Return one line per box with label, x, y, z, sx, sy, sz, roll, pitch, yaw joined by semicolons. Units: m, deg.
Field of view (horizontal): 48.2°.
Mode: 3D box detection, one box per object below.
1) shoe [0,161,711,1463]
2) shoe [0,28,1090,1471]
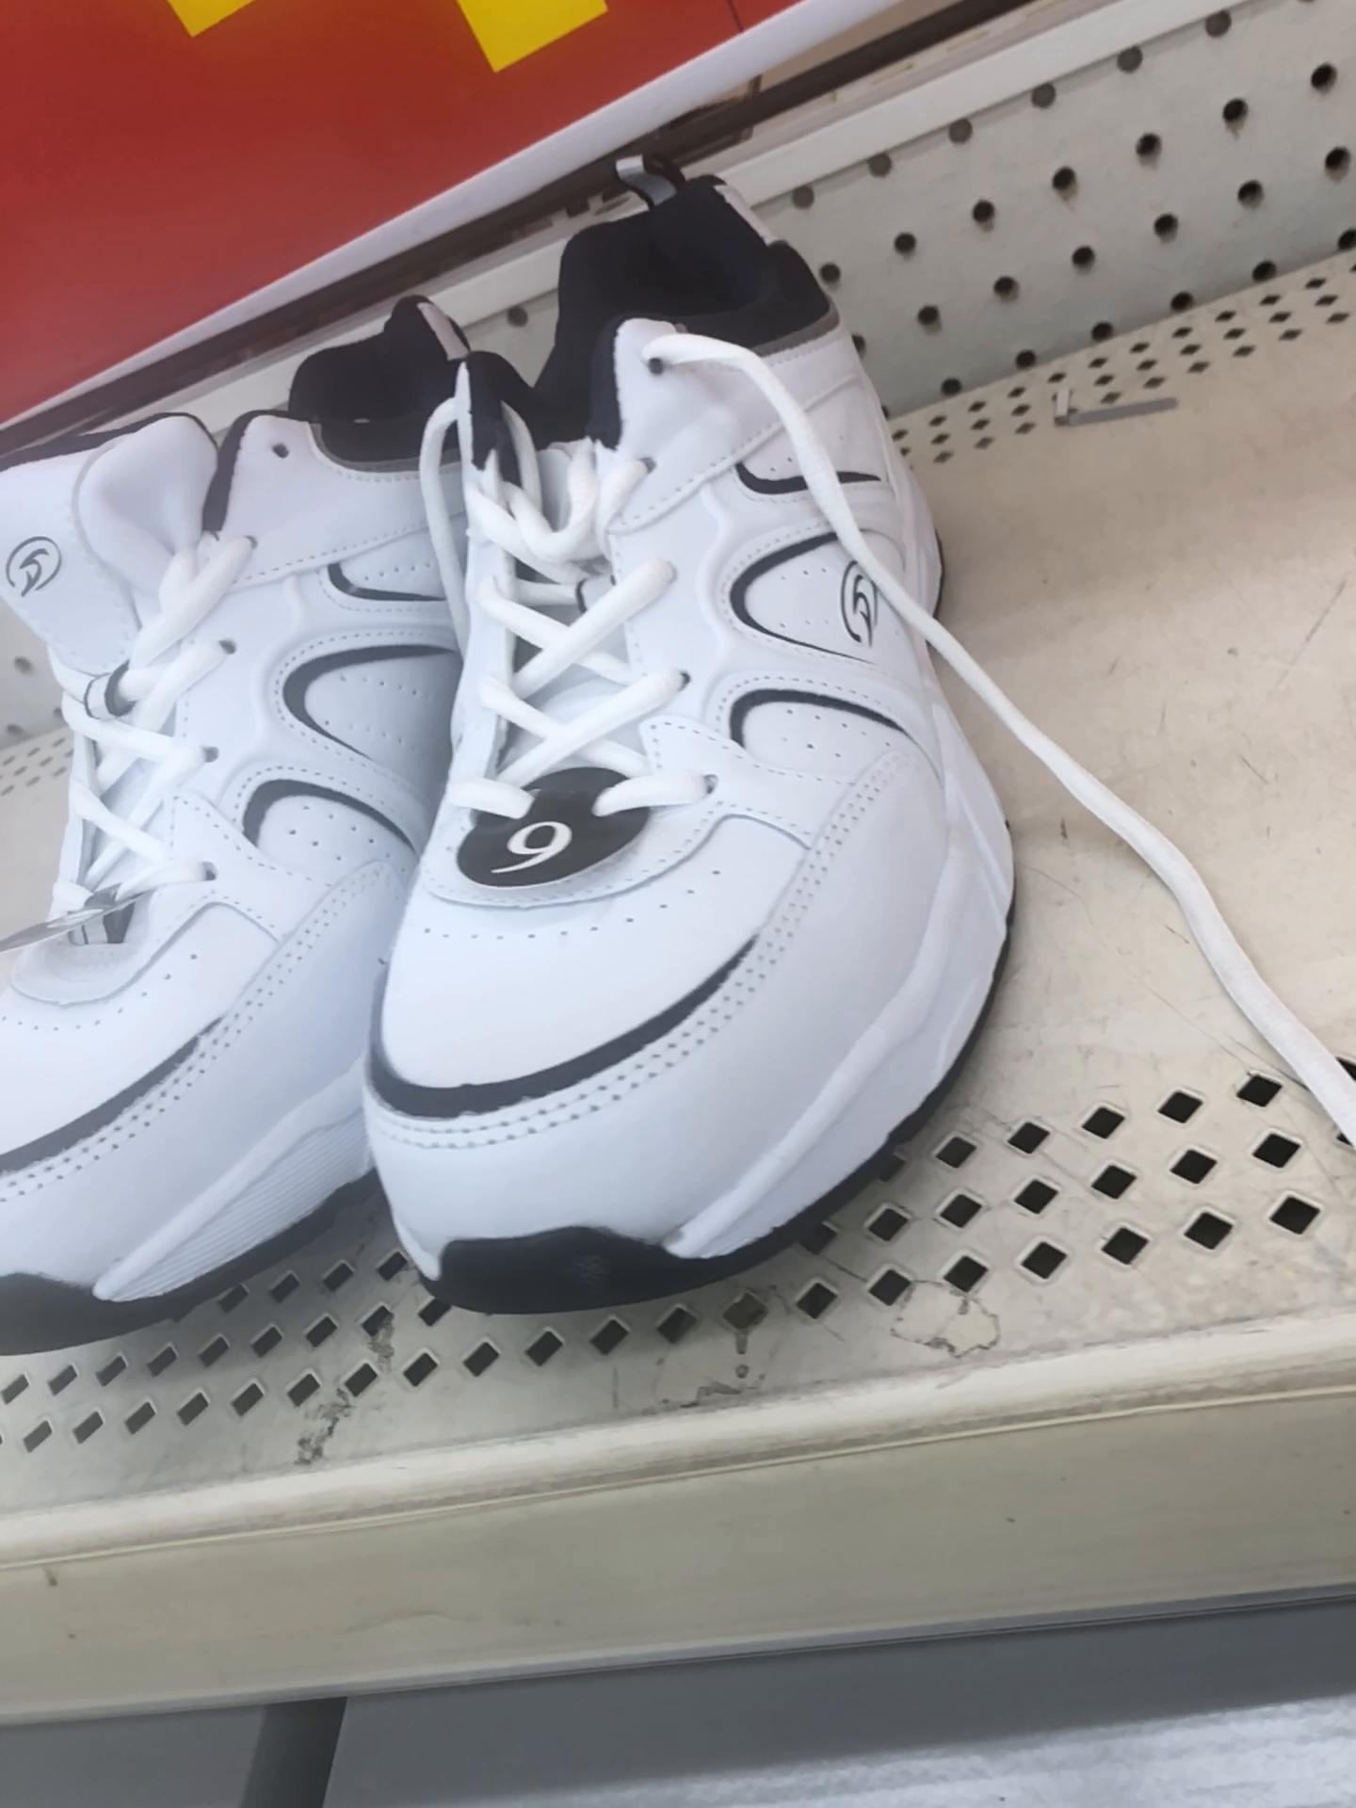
shoe;-0.089;-0.034;0.323;0.110;0.119;0.260;-9;40;24
shoe;0.001;-0.048;0.288;0.110;0.119;0.261;-12;39;21
